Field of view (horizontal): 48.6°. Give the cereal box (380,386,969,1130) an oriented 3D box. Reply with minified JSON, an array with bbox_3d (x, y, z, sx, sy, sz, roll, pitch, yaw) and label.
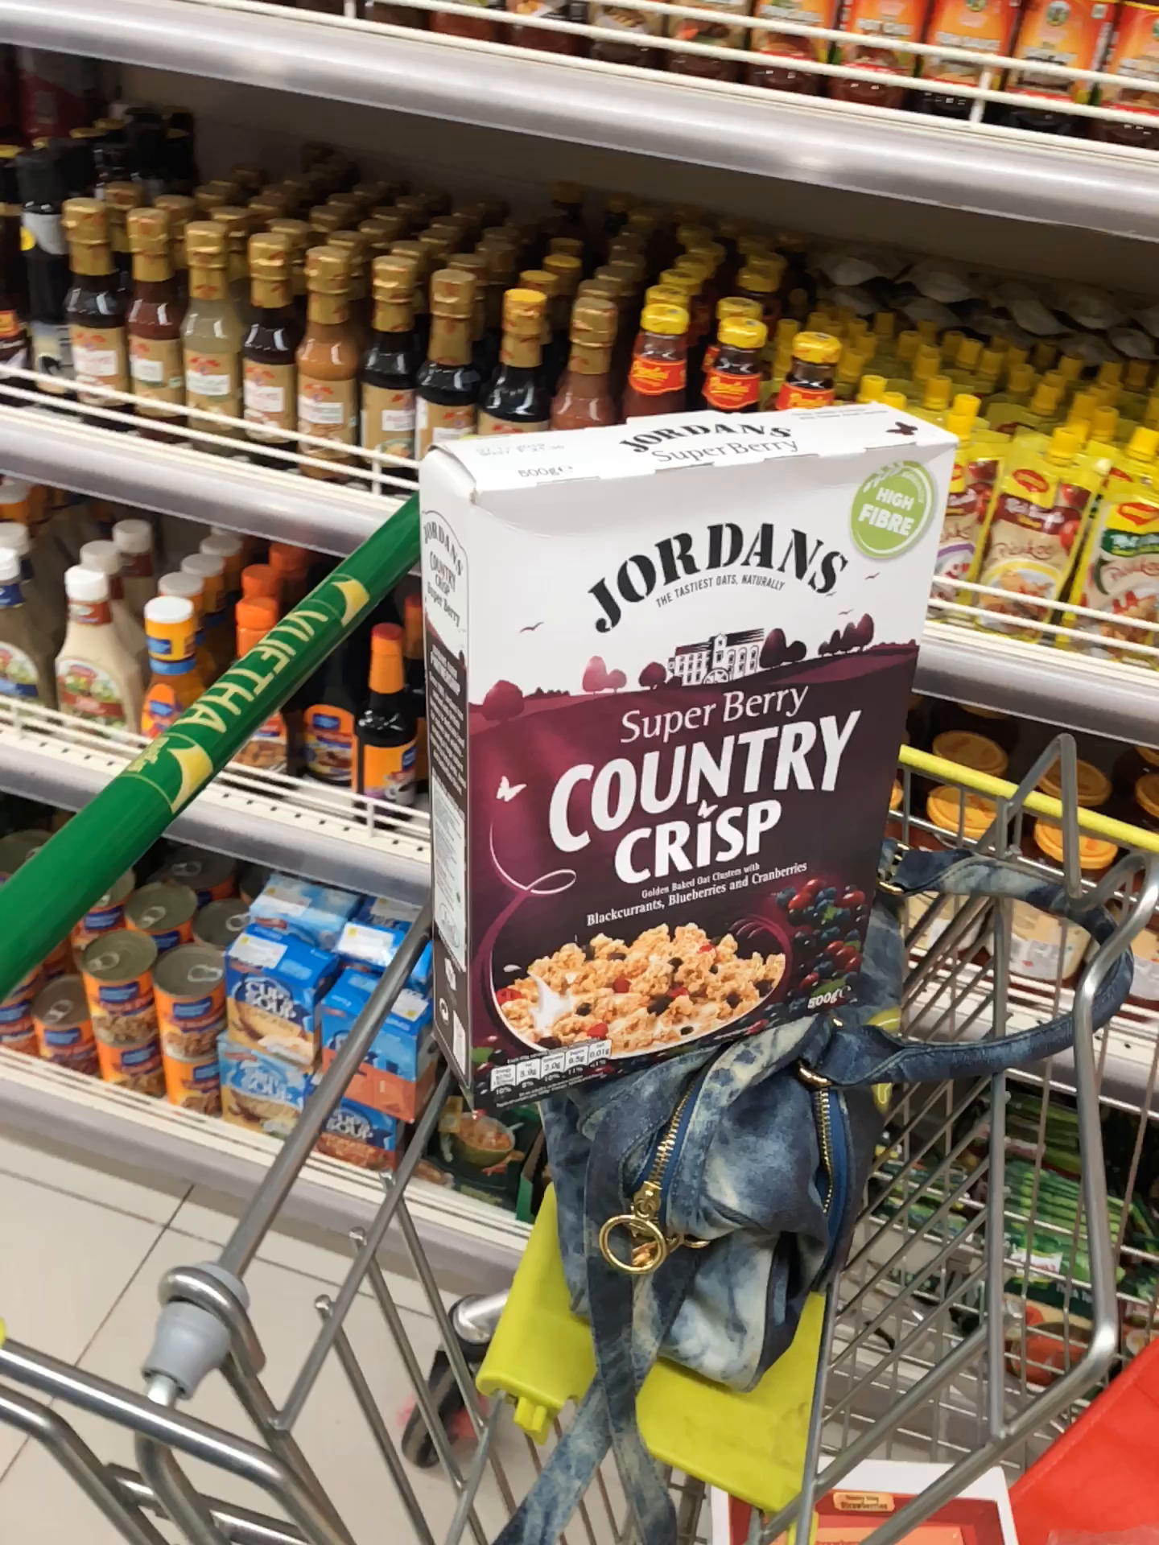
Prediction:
[{"bbox_3d":[0.027,-0.006,0.444,0.180,0.229,0.050,-13,33,-27],"label":"cereal box"}]
